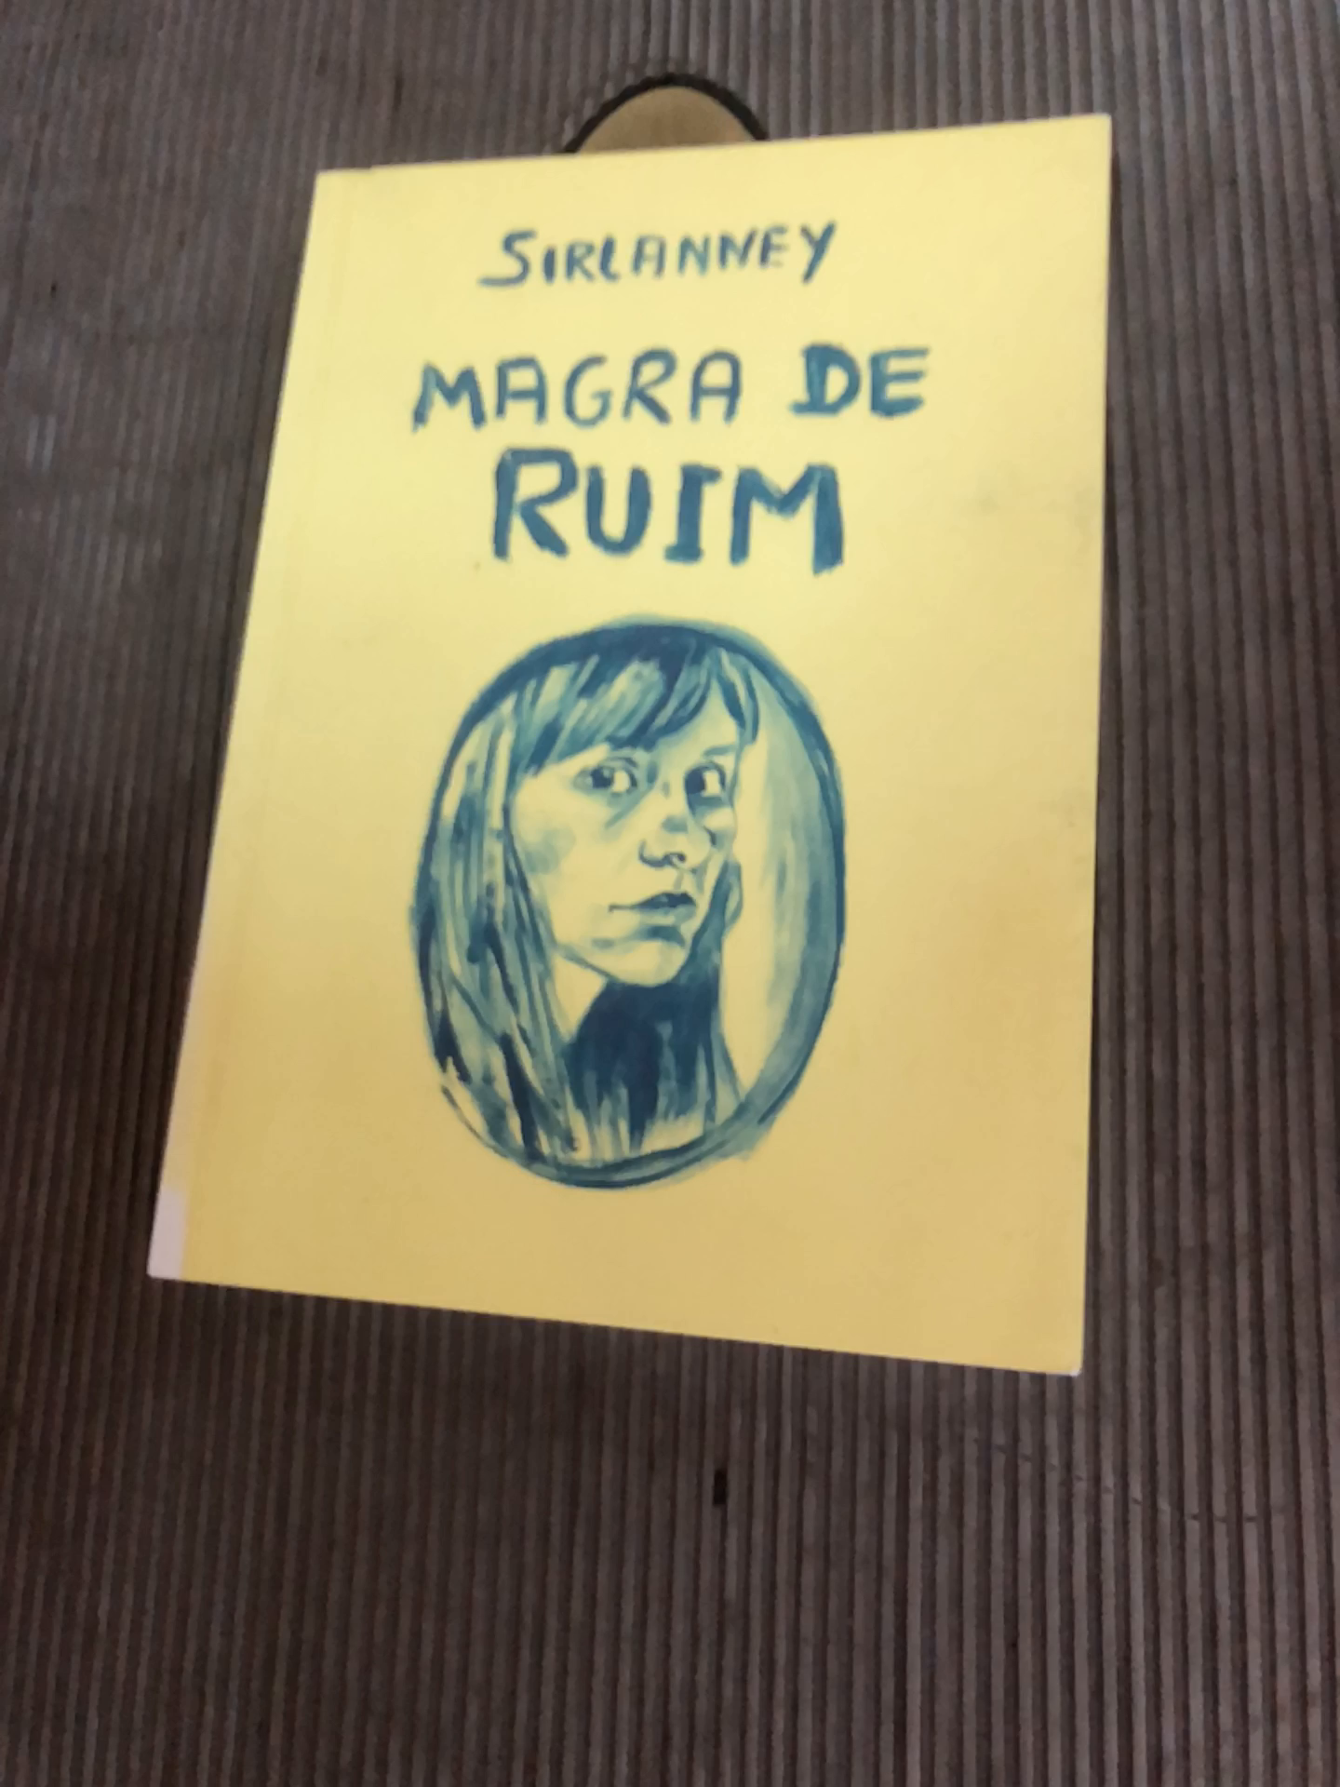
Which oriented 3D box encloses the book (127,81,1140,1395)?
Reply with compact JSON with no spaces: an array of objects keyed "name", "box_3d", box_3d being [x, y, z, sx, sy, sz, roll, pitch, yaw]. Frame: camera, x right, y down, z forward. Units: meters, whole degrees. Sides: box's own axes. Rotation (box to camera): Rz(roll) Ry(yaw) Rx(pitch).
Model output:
[{"name":"book","box_3d":[-0.003,-0.034,0.257,0.150,0.020,0.210,3,78,13]}]
